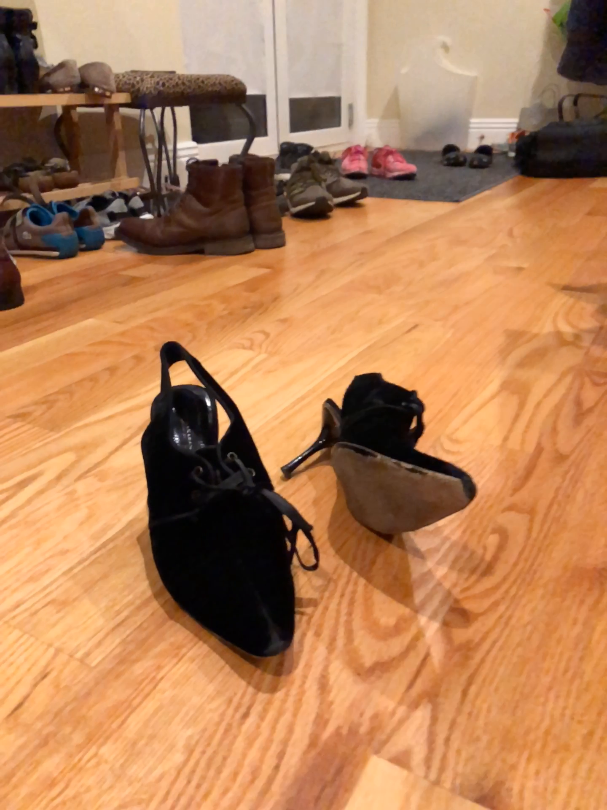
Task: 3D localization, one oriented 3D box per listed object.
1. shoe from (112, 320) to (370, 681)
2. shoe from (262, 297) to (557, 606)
[{"bbox_3d":[-0.058,0.039,0.464,0.107,0.117,0.253,-10,26,-18],"label":"shoe"},{"bbox_3d":[0.056,0.011,0.496,0.118,0.107,0.253,-9,26,-13],"label":"shoe"}]
